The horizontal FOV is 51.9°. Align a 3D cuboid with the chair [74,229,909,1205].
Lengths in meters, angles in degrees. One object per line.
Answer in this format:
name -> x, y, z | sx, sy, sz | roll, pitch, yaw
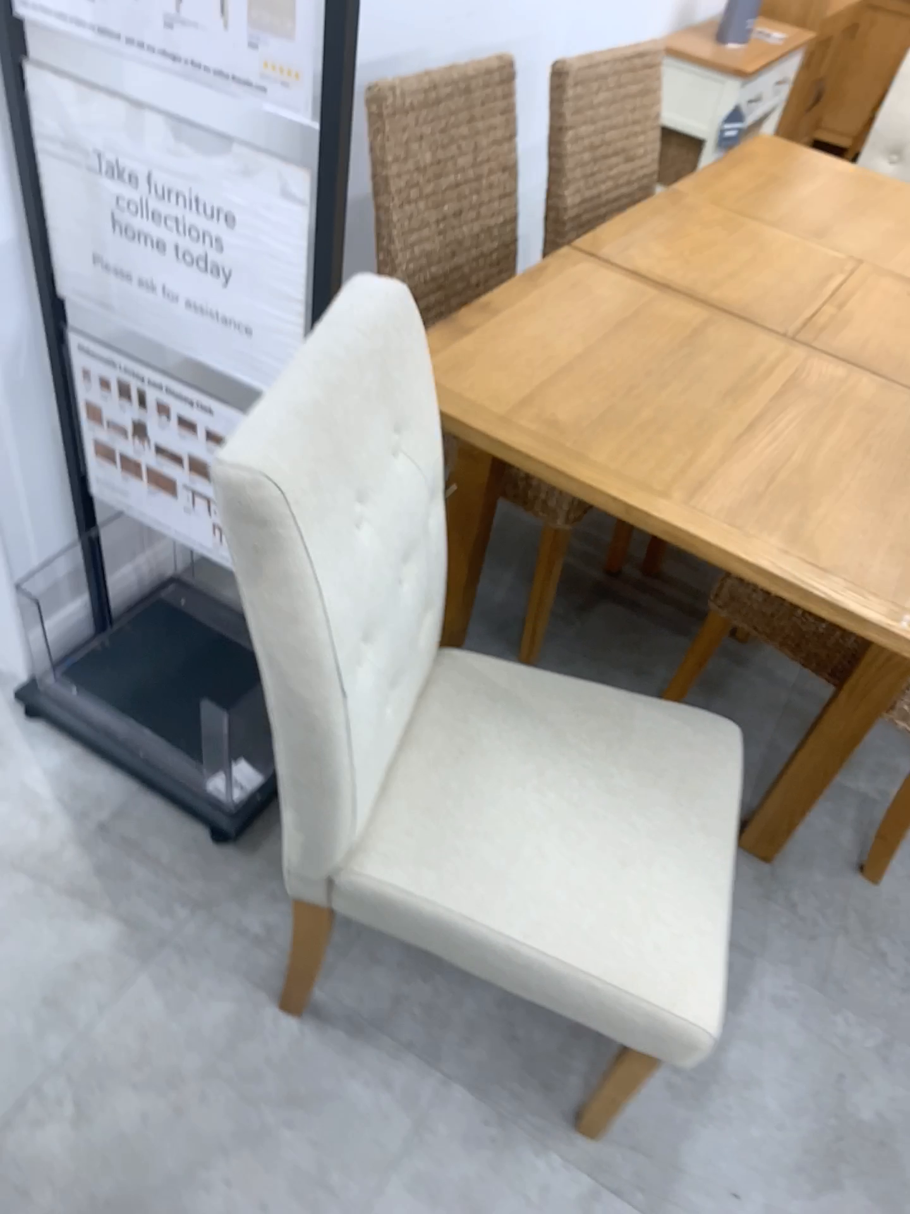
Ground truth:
chair -> 0.041, 0.179, 1.061 | 0.610, 0.896, 0.483 | 18, 44, 6
